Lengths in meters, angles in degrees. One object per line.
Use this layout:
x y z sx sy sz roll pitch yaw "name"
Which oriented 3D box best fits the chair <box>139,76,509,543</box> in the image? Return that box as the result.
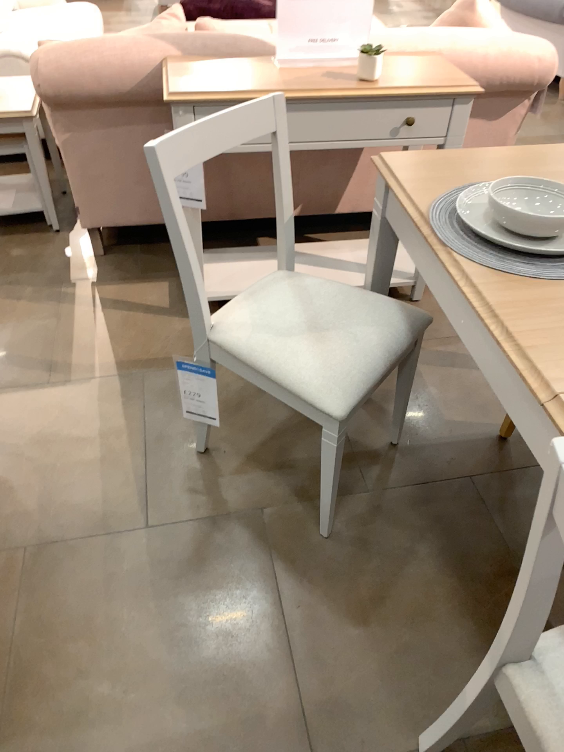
0.074 -0.144 1.329 0.509 0.831 0.464 29 48 27 "chair"
